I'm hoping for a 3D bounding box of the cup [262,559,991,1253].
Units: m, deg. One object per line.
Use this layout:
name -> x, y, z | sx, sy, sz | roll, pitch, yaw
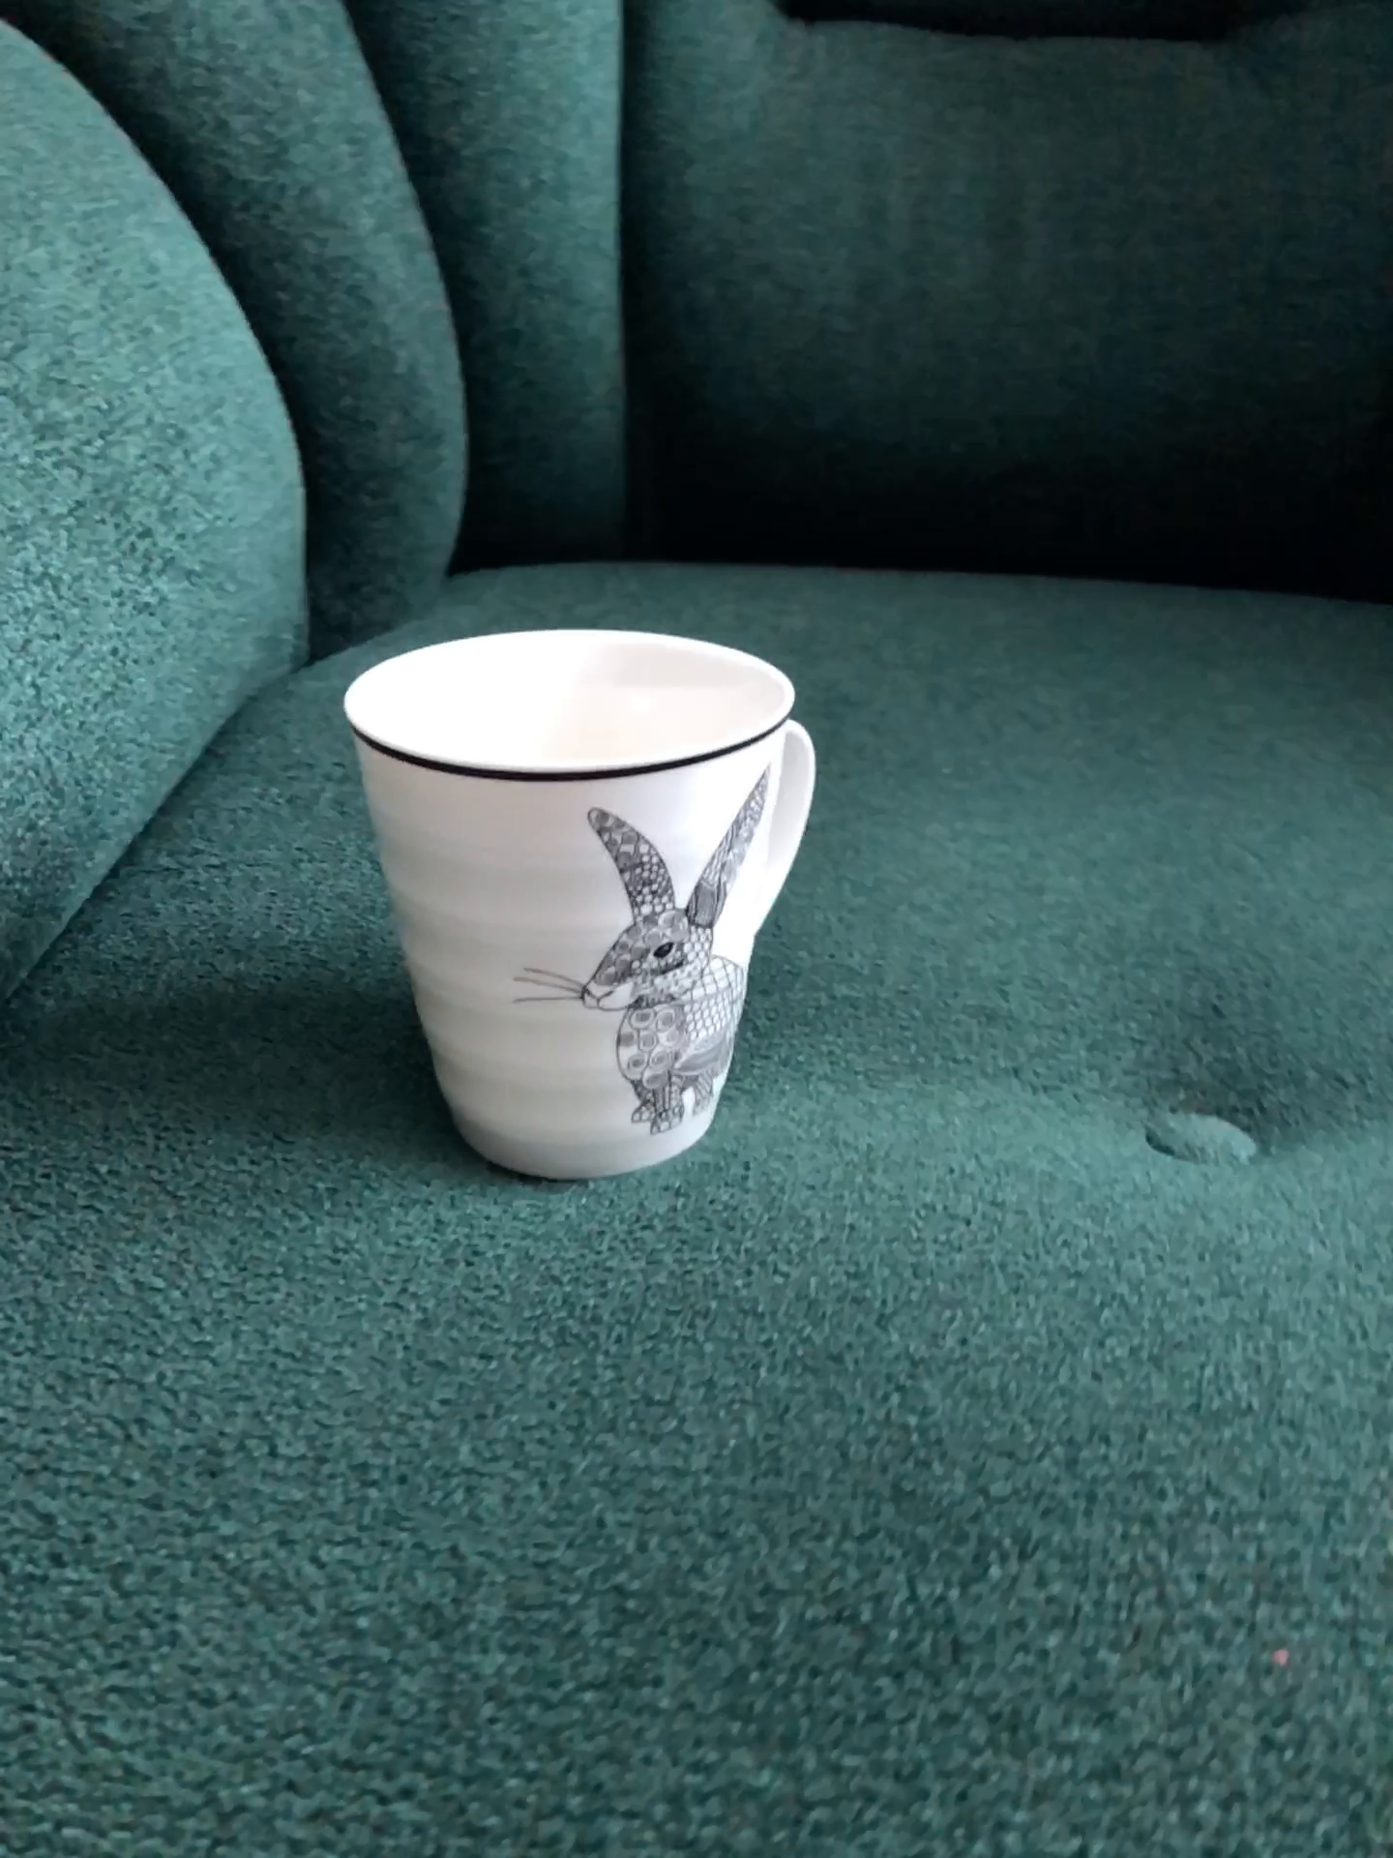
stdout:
cup -> -0.013, -0.016, 0.342 | 0.095, 0.095, 0.121 | 23, 34, 35
